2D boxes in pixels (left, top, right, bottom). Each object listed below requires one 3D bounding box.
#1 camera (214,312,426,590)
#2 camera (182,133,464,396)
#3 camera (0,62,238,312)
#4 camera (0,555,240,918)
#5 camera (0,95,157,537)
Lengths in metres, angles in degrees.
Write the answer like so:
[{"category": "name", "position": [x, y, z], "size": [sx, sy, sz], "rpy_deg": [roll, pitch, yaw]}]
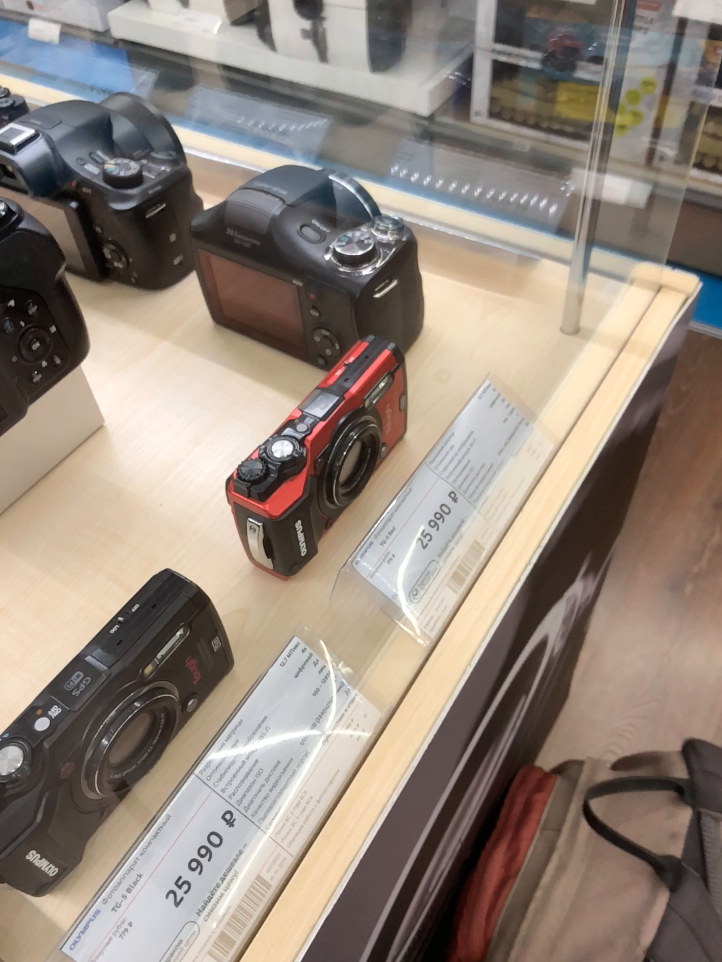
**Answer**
[{"category": "camera", "position": [-0.013, -0.016, 0.372], "size": [0.030, 0.061, 0.119], "rpy_deg": [25, 56, 23]}, {"category": "camera", "position": [-0.018, -0.125, 0.453], "size": [0.117, 0.078, 0.094], "rpy_deg": [25, 56, 23]}, {"category": "camera", "position": [-0.183, -0.199, 0.533], "size": [0.158, 0.086, 0.103], "rpy_deg": [25, 56, 22]}, {"category": "camera", "position": [-0.099, 0.093, 0.301], "size": [0.030, 0.061, 0.117], "rpy_deg": [25, 56, 23]}, {"category": "camera", "position": [-0.195, -0.079, 0.345], "size": [0.127, 0.086, 0.147], "rpy_deg": [26, 56, 23]}]
